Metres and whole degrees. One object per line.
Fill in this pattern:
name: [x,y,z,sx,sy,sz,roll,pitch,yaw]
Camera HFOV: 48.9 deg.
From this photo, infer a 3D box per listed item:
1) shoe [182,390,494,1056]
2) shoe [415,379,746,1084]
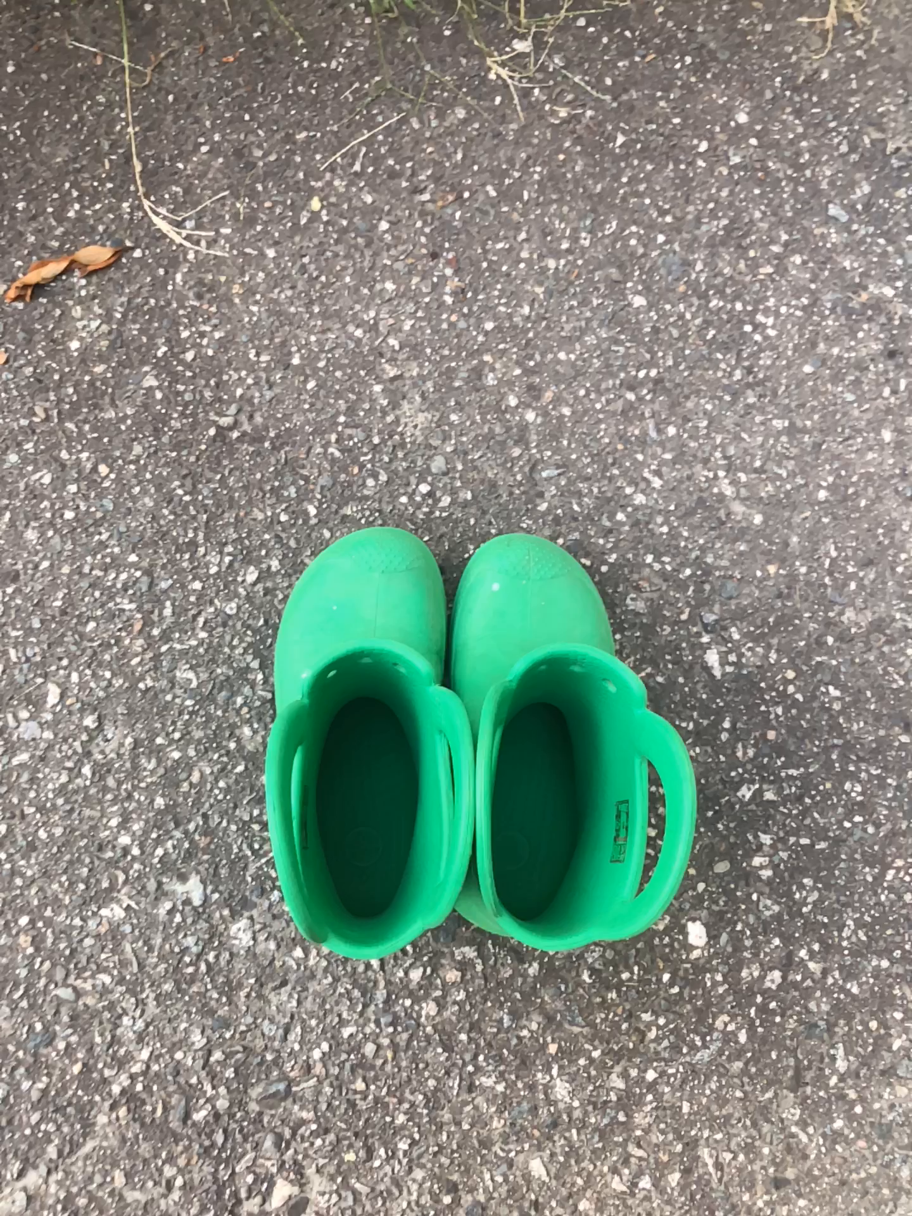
shoe: [-0.051,0.055,0.497,0.110,0.230,0.250,2,82,-4]
shoe: [0.042,0.059,0.505,0.110,0.260,0.260,2,82,-4]
